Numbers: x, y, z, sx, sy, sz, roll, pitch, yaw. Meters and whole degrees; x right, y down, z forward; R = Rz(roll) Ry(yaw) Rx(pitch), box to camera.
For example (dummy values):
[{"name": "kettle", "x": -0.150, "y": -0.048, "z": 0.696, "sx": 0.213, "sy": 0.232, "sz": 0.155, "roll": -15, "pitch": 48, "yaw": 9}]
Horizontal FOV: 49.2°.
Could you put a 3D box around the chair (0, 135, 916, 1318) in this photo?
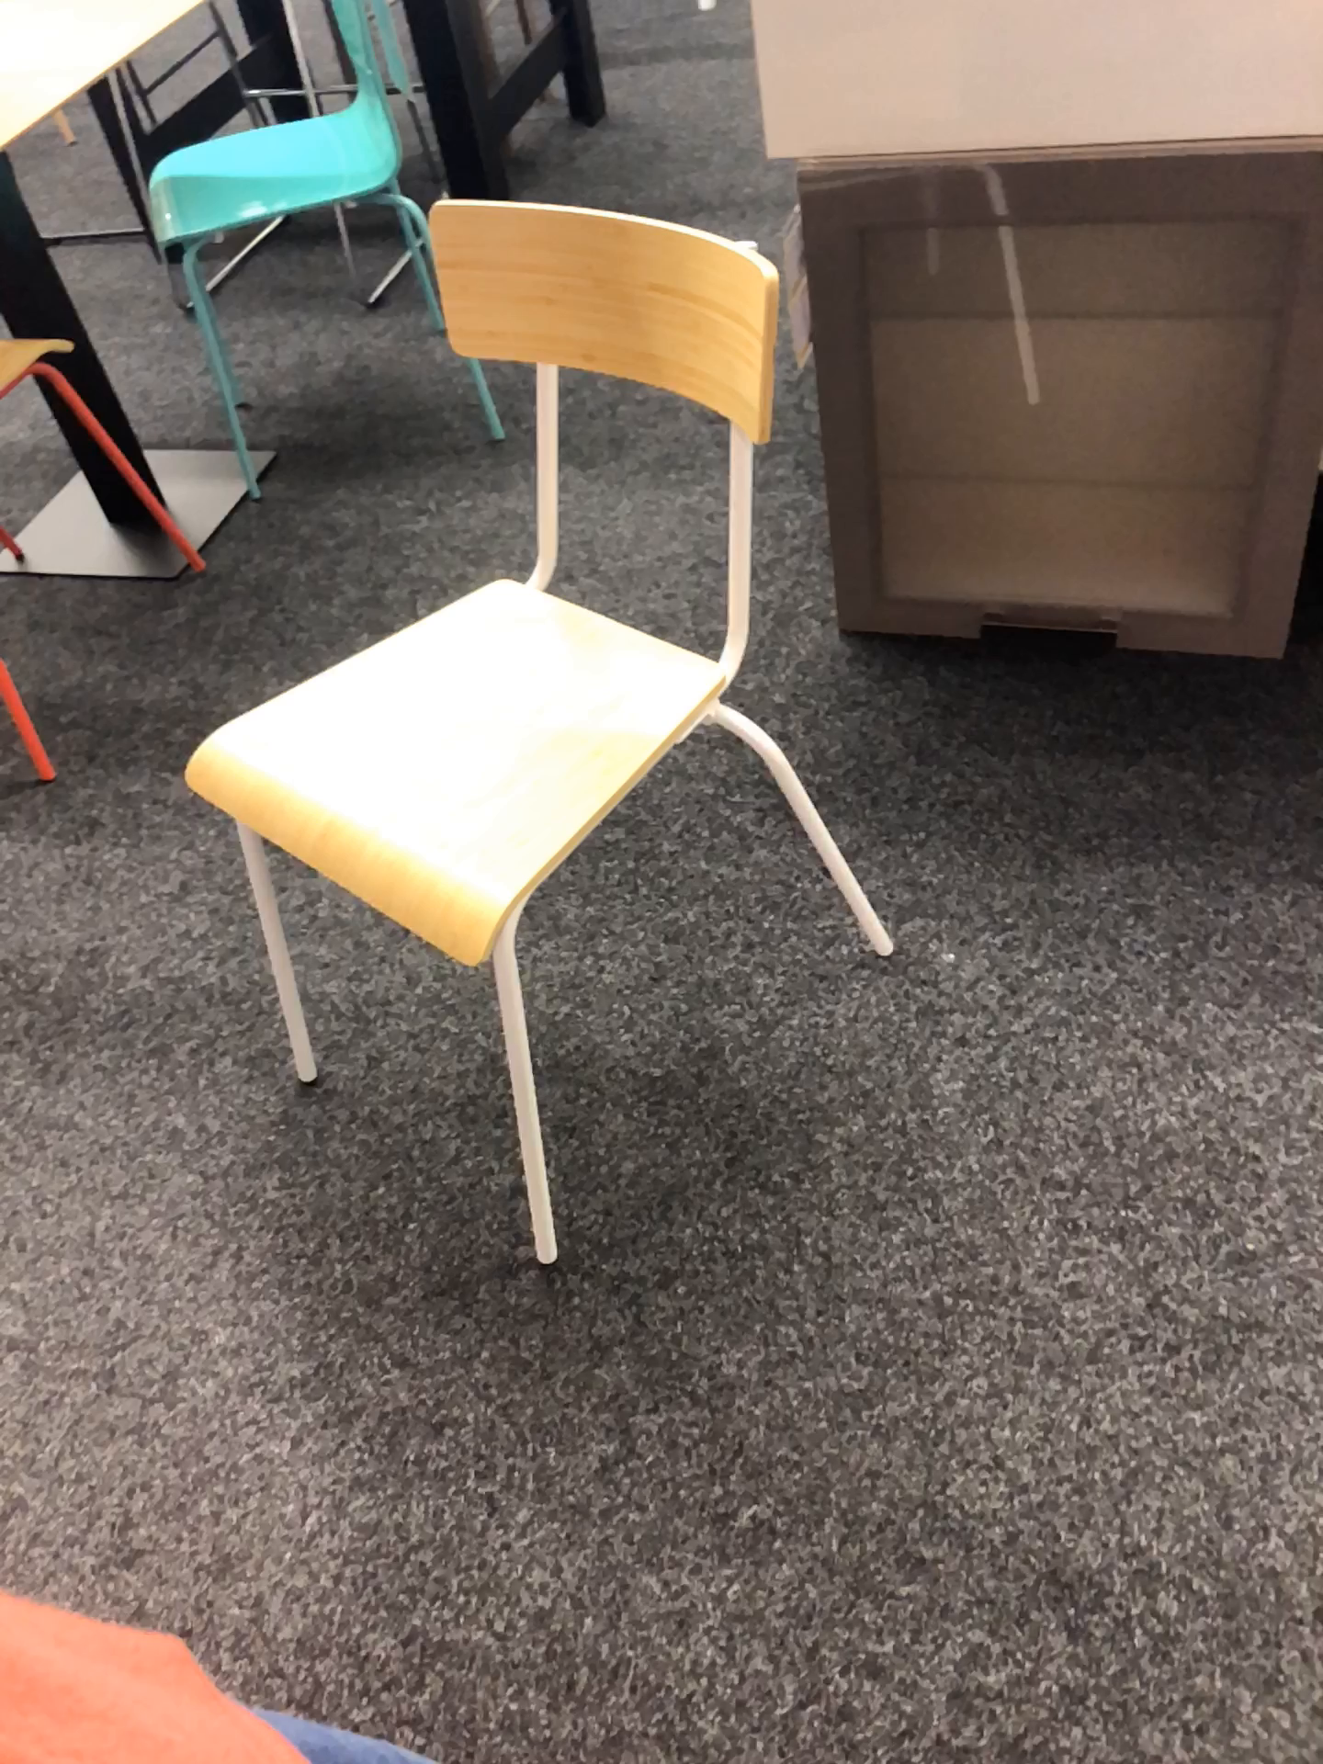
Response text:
[{"name": "chair", "x": -0.163, "y": -0.145, "z": 1.376, "sx": 0.540, "sy": 0.816, "sz": 0.582, "roll": 26, "pitch": 57, "yaw": 32}]
